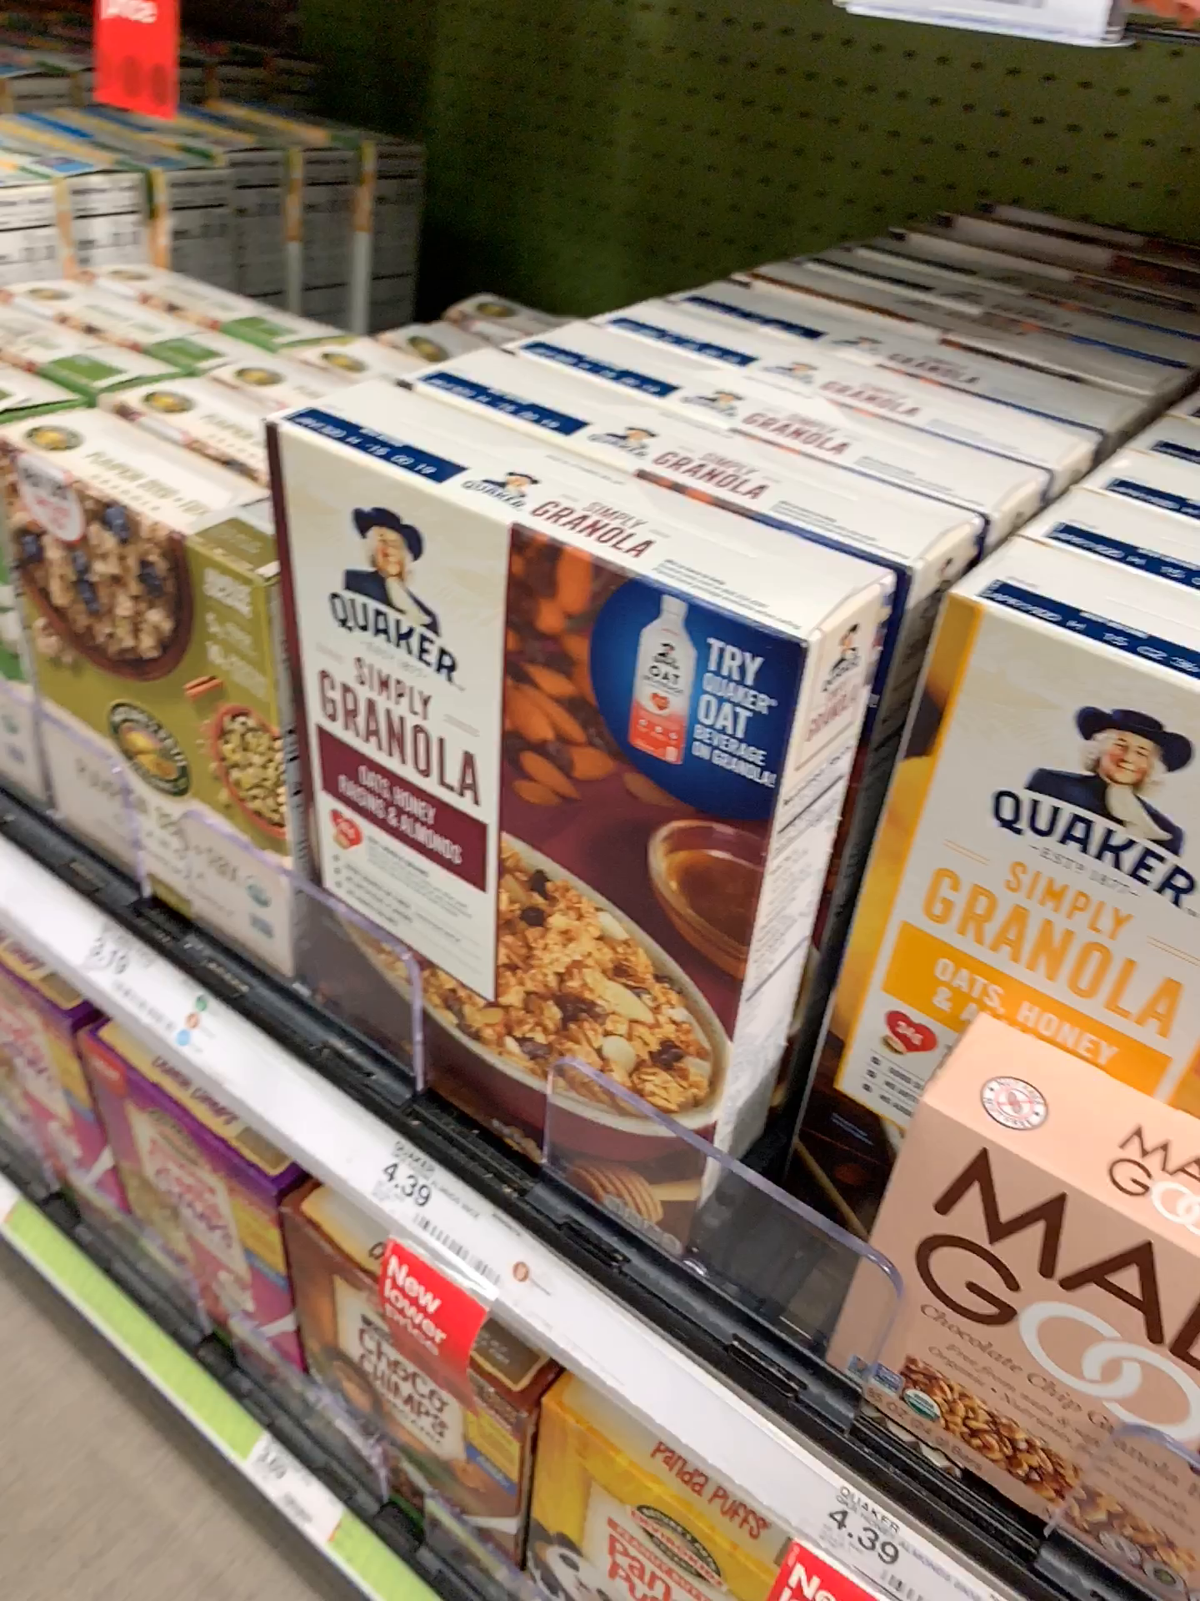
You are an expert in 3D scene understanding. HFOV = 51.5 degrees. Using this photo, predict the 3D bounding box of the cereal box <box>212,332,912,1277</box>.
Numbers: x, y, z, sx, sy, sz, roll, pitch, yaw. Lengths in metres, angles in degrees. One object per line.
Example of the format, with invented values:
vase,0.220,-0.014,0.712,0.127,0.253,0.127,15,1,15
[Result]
cereal box,-0.025,0.008,0.393,0.180,0.249,0.060,28,43,26
